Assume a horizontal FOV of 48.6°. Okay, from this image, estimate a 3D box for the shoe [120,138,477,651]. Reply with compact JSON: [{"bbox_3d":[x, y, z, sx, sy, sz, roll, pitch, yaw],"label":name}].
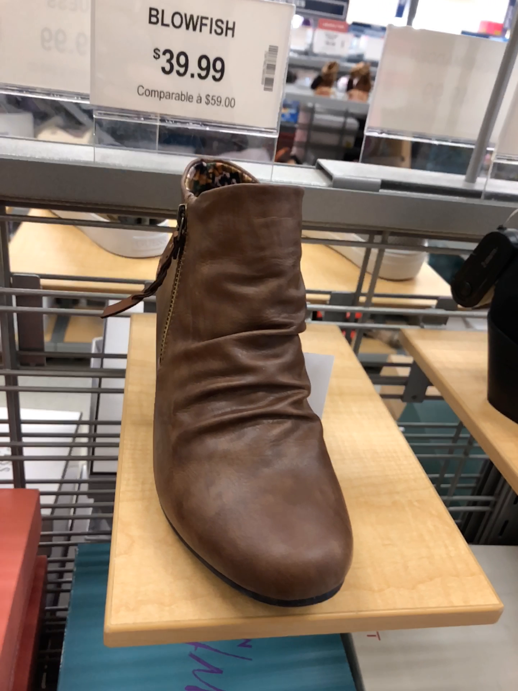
[{"bbox_3d":[-0.016,-0.005,0.290,0.090,0.139,0.232,0,30,-17],"label":"shoe"}]
